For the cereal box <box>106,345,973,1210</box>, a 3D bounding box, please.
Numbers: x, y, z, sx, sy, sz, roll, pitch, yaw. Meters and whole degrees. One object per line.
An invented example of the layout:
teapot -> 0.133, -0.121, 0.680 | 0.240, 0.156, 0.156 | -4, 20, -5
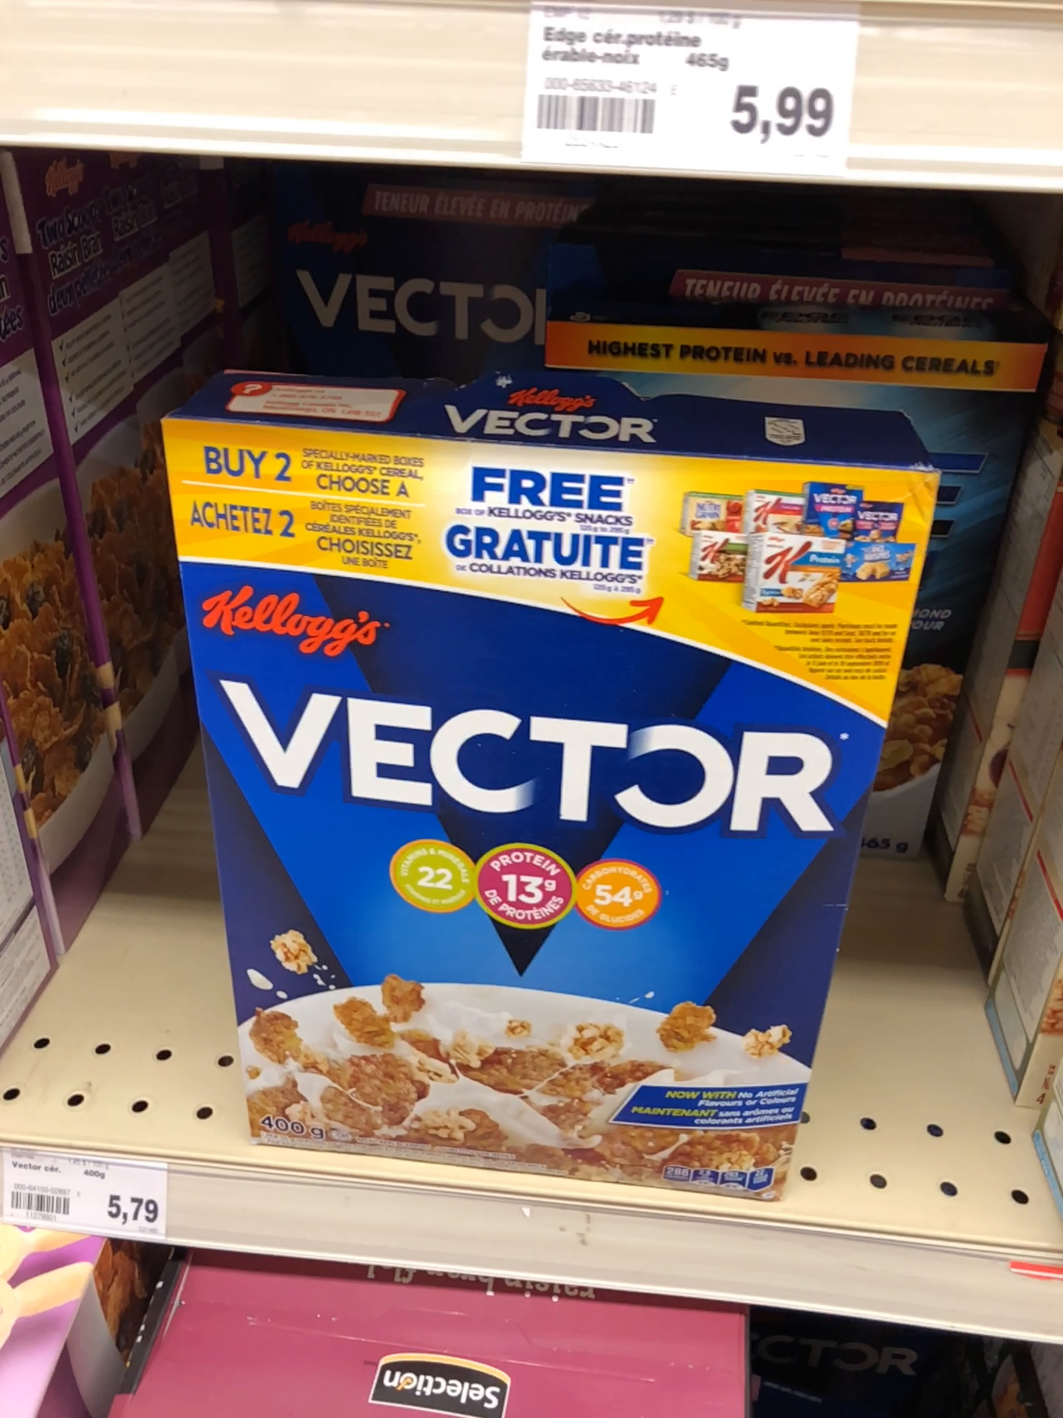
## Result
cereal box -> -0.002, 0.036, 0.367 | 0.200, 0.268, 0.060 | 5, 33, 4
